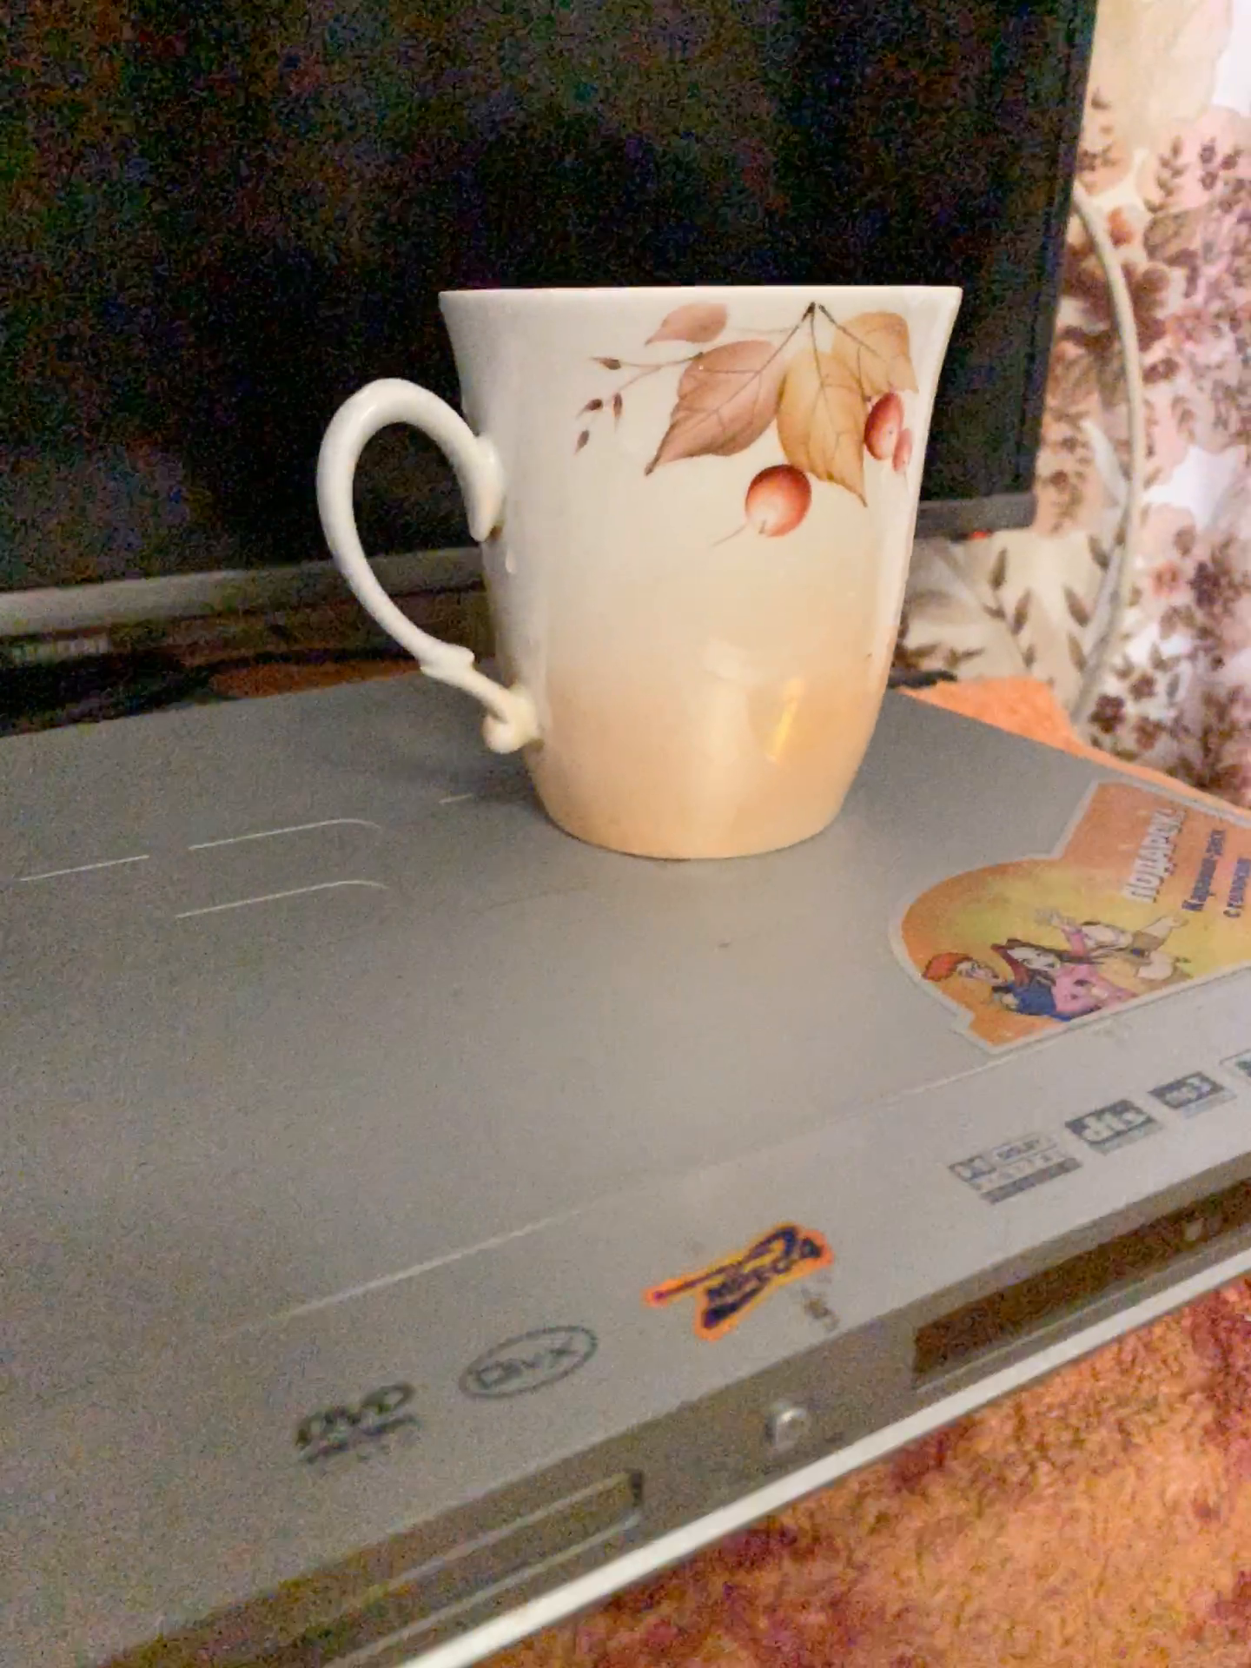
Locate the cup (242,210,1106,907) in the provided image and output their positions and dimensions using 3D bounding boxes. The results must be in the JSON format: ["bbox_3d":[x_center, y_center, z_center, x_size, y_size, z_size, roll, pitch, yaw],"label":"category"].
[{"bbox_3d":[0.003,-0.057,0.240,0.113,0.091,0.100,-11,23,-28],"label":"cup"}]
